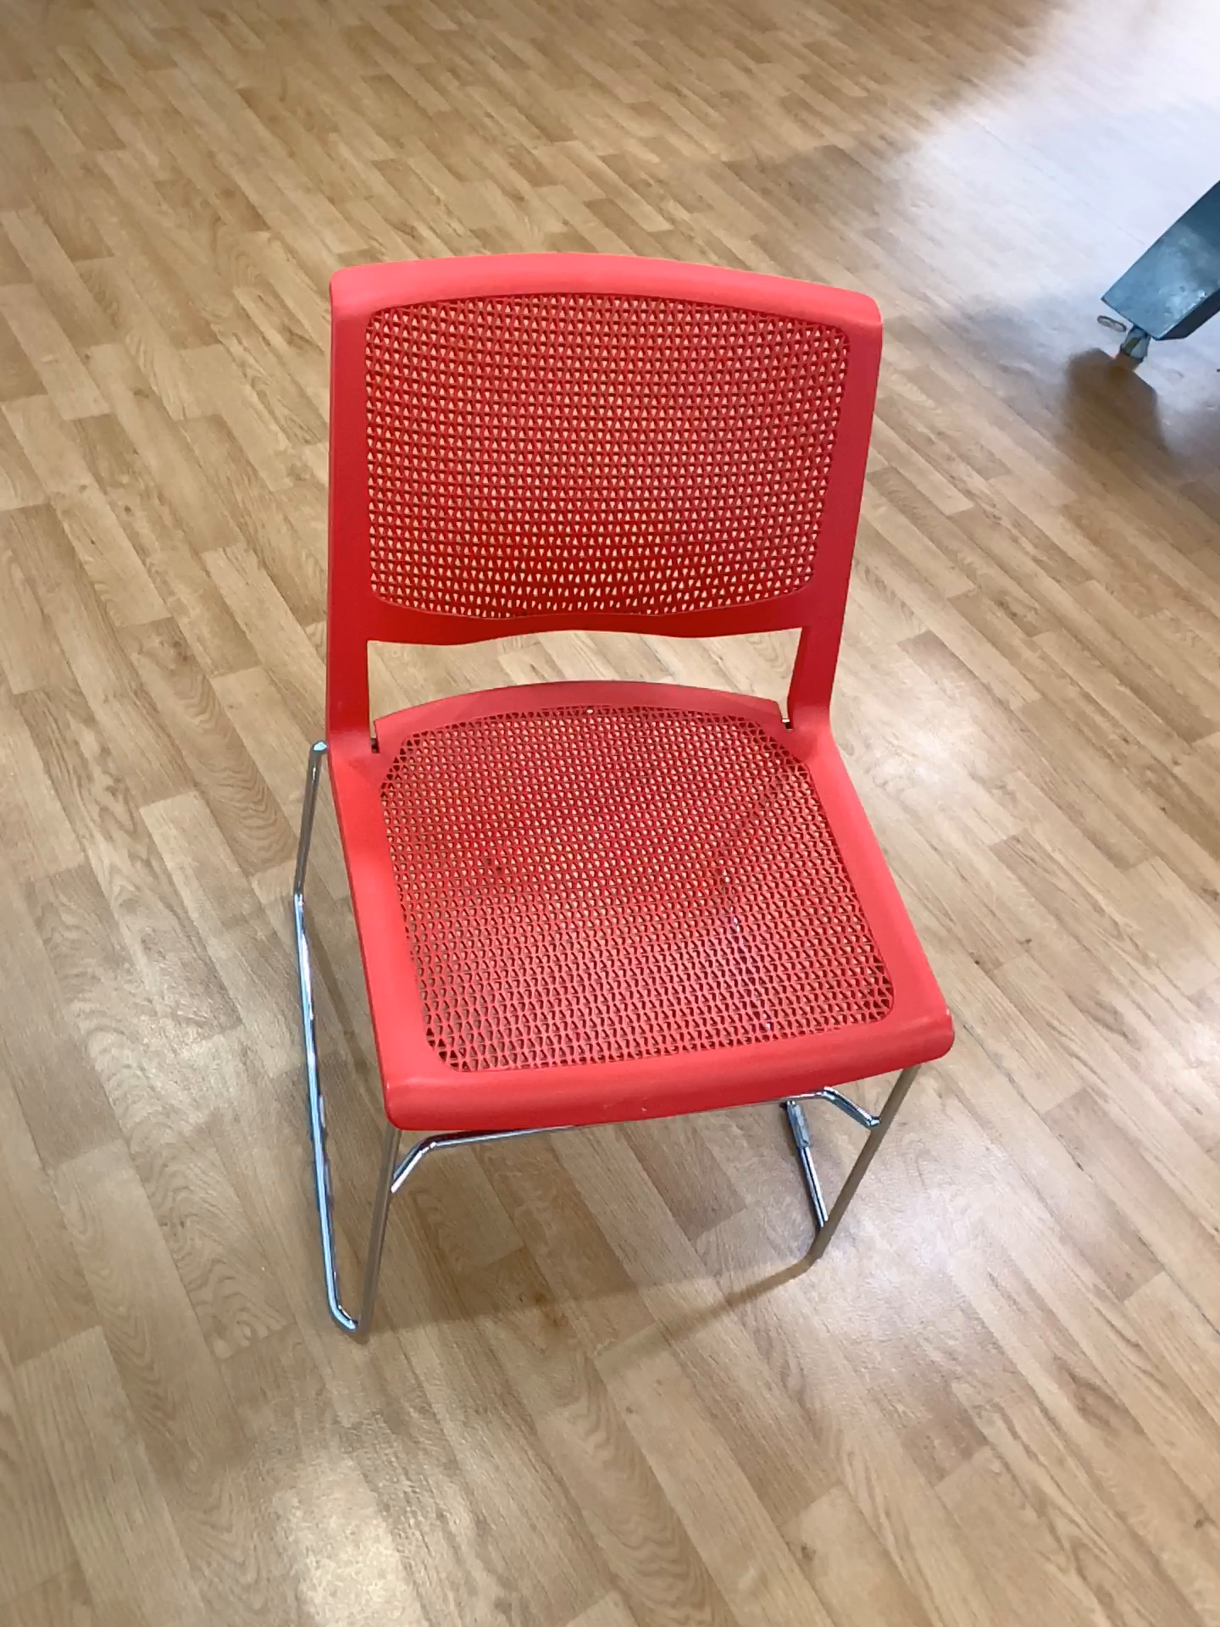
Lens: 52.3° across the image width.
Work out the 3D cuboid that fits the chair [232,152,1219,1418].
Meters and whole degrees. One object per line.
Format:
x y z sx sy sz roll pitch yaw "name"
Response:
0.051 0.004 0.975 0.601 0.705 0.594 -4 52 -17 "chair"
